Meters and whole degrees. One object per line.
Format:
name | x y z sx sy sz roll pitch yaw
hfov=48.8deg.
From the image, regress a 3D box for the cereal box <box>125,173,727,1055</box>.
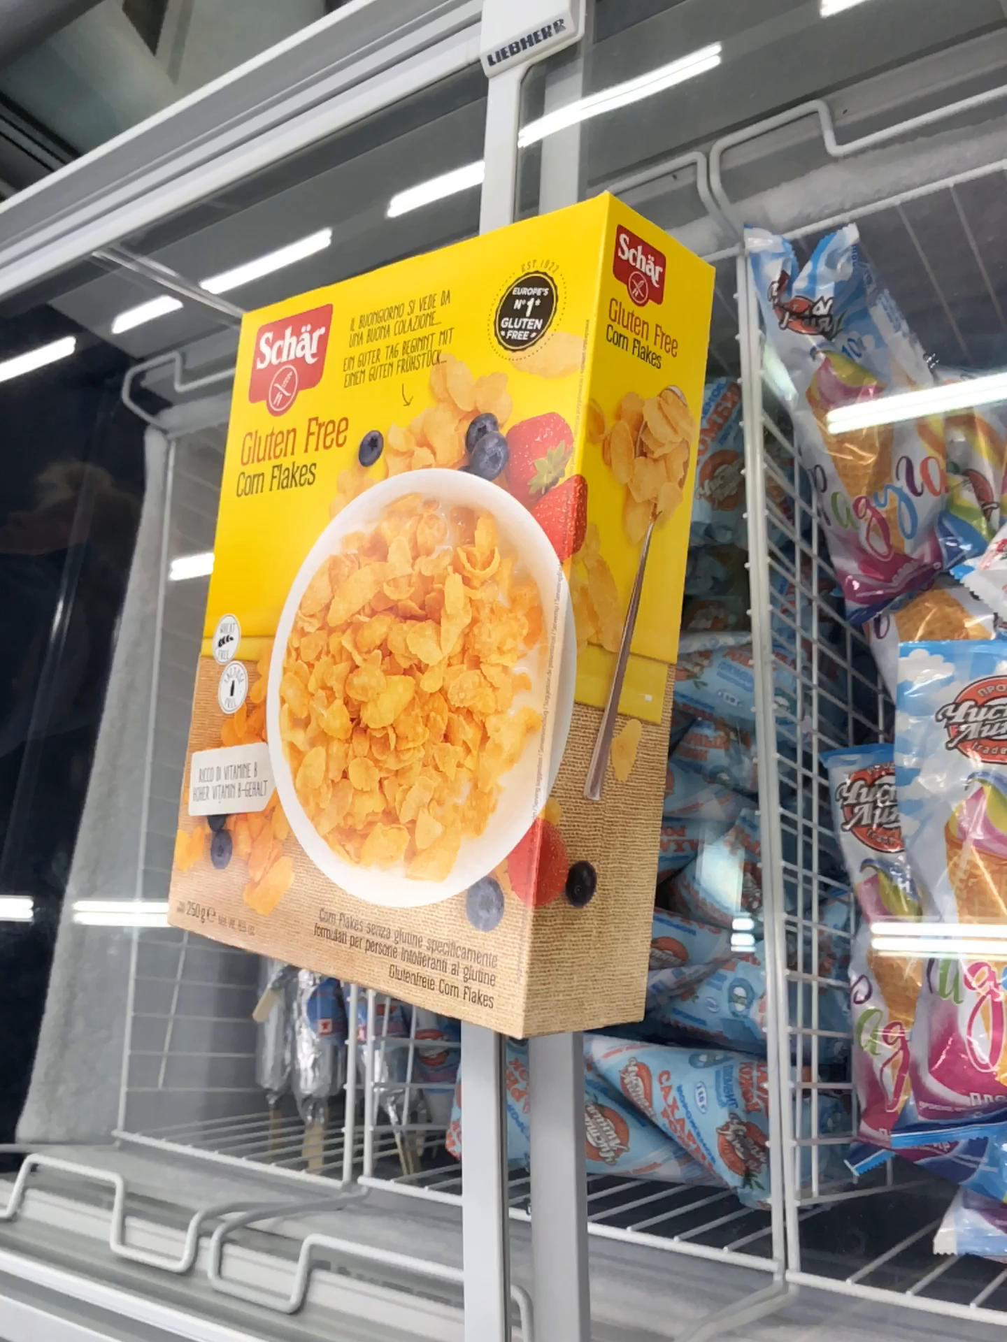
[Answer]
cereal box | -0.036 -0.018 0.419 0.201 0.080 0.260 2 83 42
